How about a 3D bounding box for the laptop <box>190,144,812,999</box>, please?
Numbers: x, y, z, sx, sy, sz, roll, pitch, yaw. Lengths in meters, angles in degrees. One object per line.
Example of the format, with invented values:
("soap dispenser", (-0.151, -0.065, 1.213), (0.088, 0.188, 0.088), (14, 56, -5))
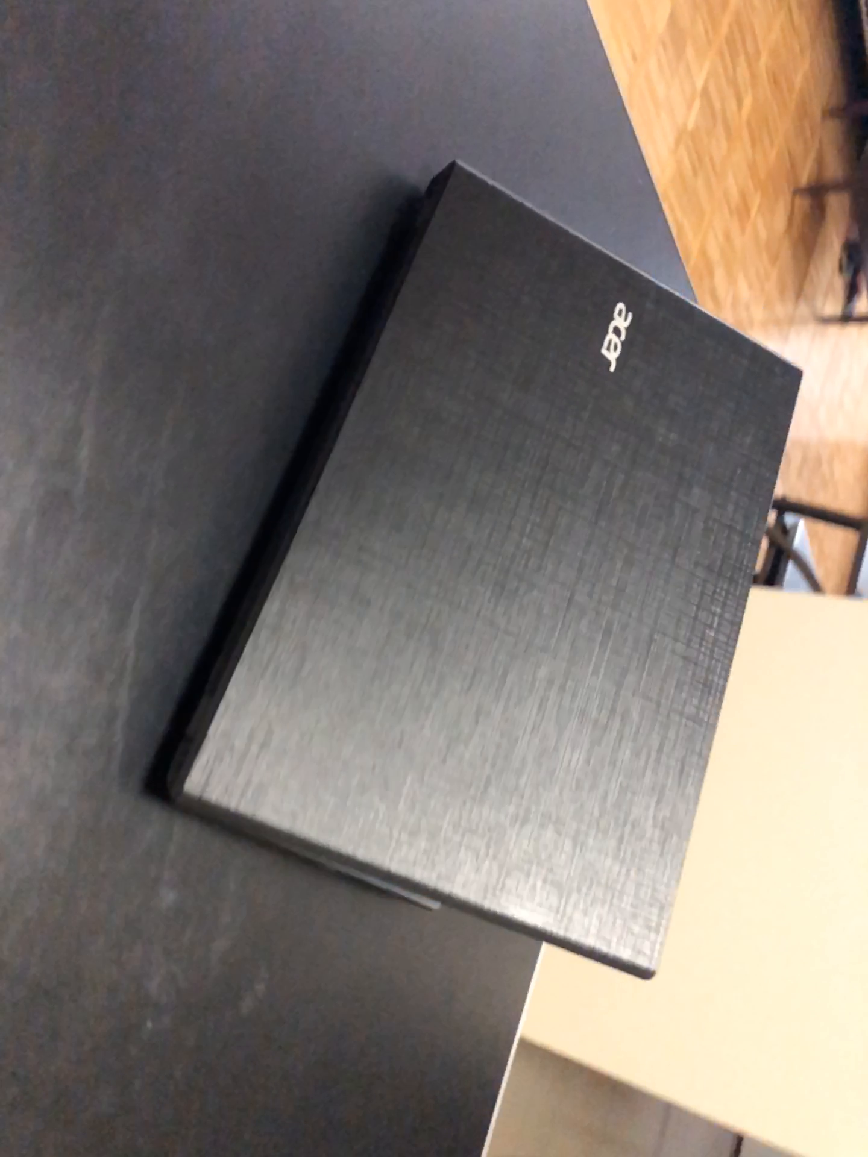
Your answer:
("laptop", (0.075, 0.004, 0.535), (0.252, 0.155, 0.369), (45, 59, -50))
